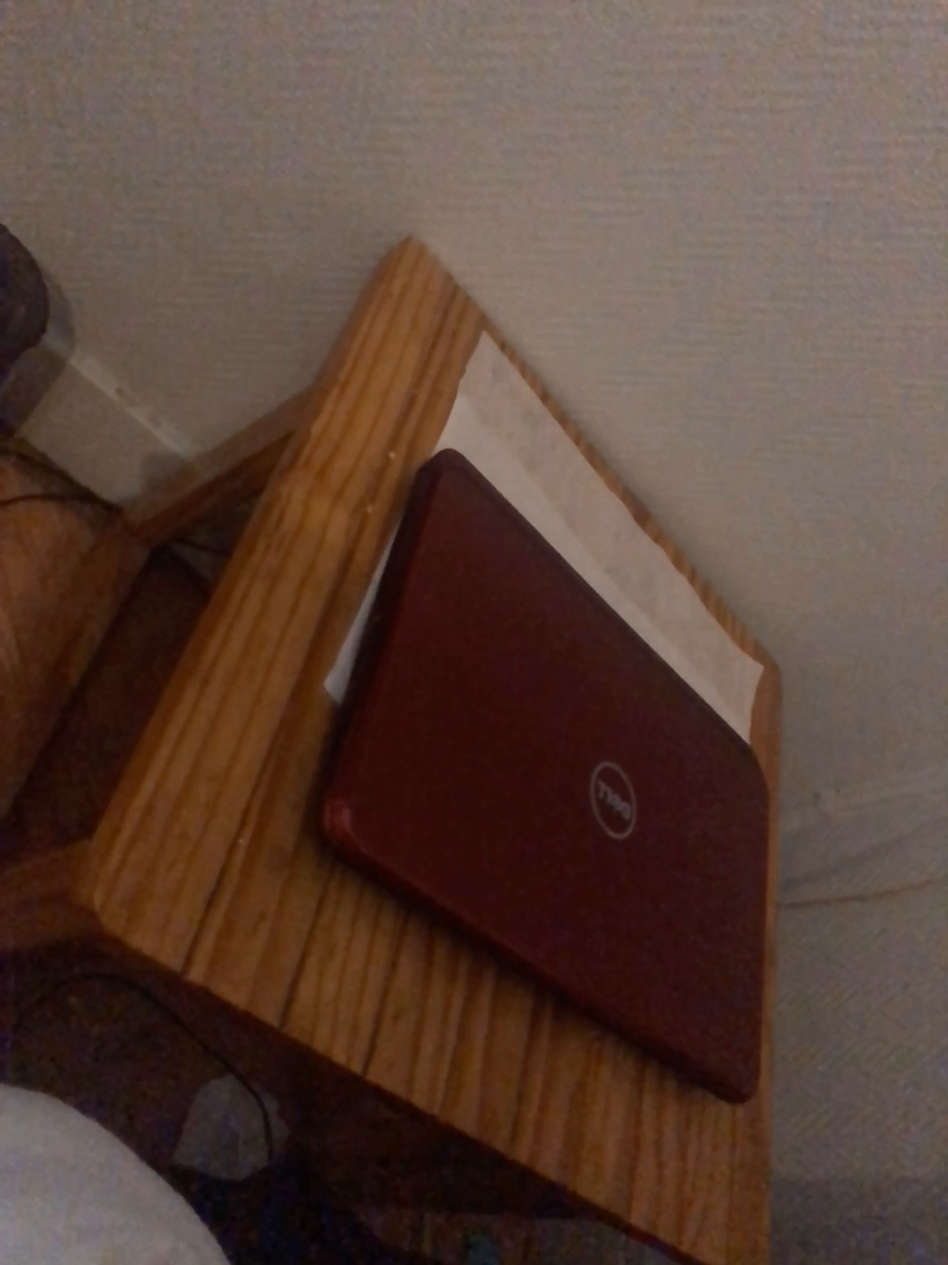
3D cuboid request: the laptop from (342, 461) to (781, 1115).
[{"bbox_3d":[0.088,0.102,0.630,0.367,0.011,0.247,42,46,-32],"label":"laptop"}]
